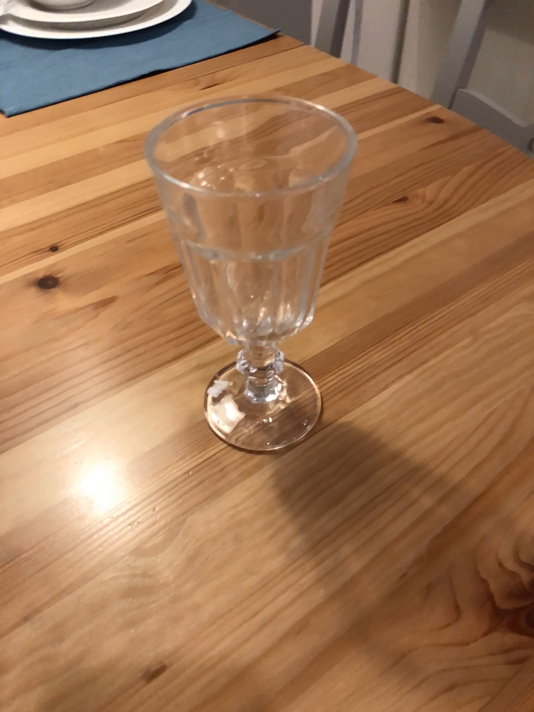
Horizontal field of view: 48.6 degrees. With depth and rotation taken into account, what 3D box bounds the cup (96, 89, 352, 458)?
[{"bbox_3d":[-0.010,-0.030,0.261,0.080,0.139,0.080,-1,46,1],"label":"cup"}]
